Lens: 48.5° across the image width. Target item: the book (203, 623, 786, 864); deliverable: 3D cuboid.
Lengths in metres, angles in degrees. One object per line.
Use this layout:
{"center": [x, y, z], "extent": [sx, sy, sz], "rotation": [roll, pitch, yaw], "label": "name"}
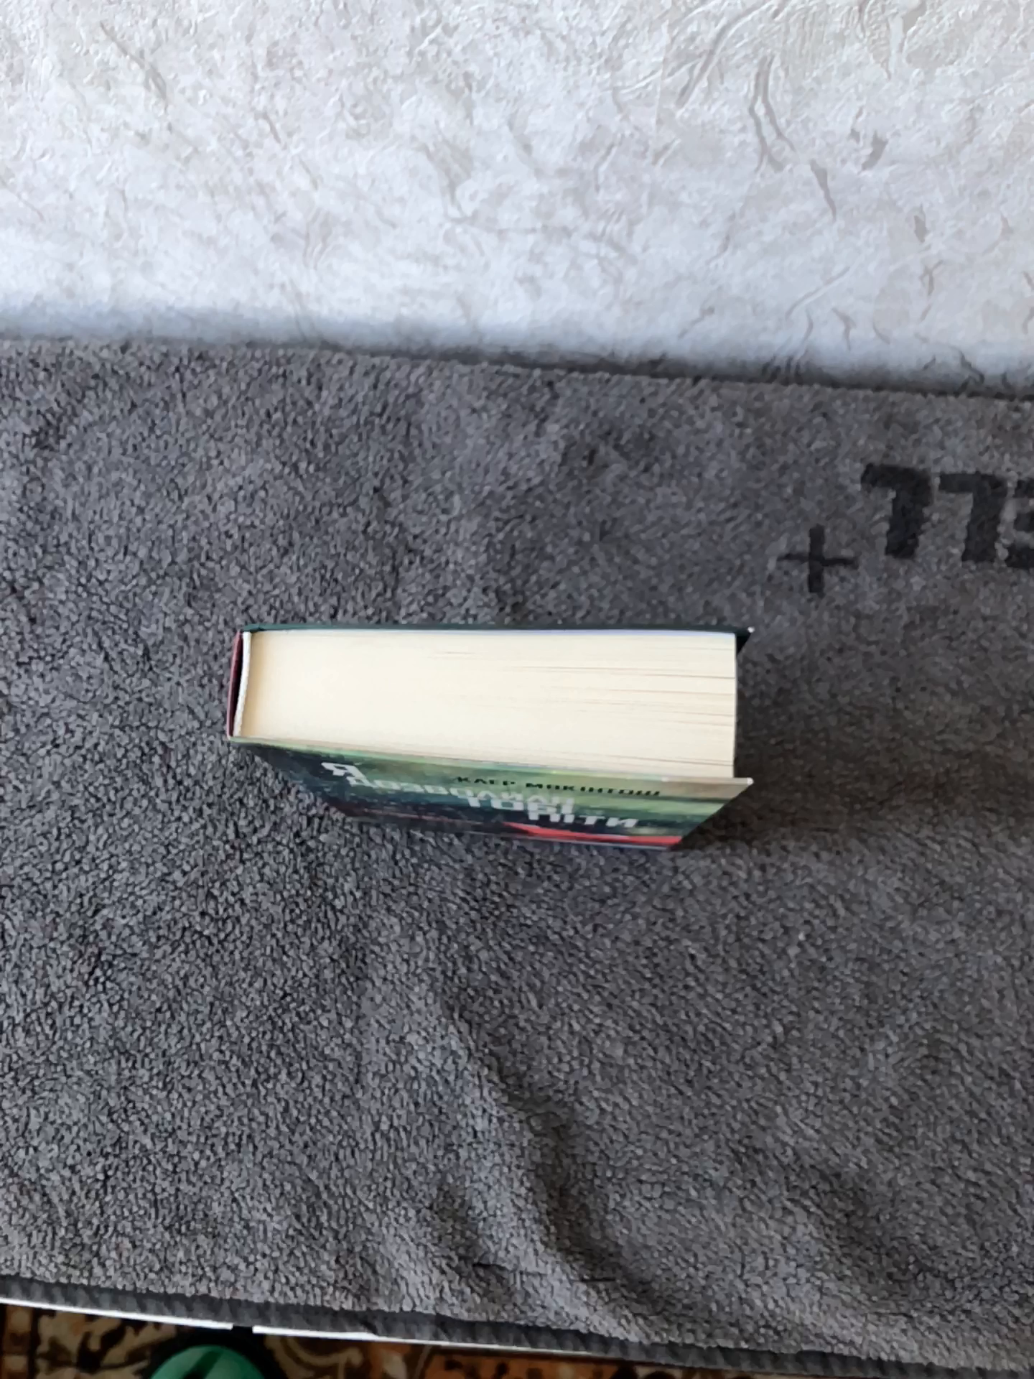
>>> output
{"center": [-0.003, 0.027, 0.377], "extent": [0.139, 0.202, 0.044], "rotation": [1, 78, 2], "label": "book"}
